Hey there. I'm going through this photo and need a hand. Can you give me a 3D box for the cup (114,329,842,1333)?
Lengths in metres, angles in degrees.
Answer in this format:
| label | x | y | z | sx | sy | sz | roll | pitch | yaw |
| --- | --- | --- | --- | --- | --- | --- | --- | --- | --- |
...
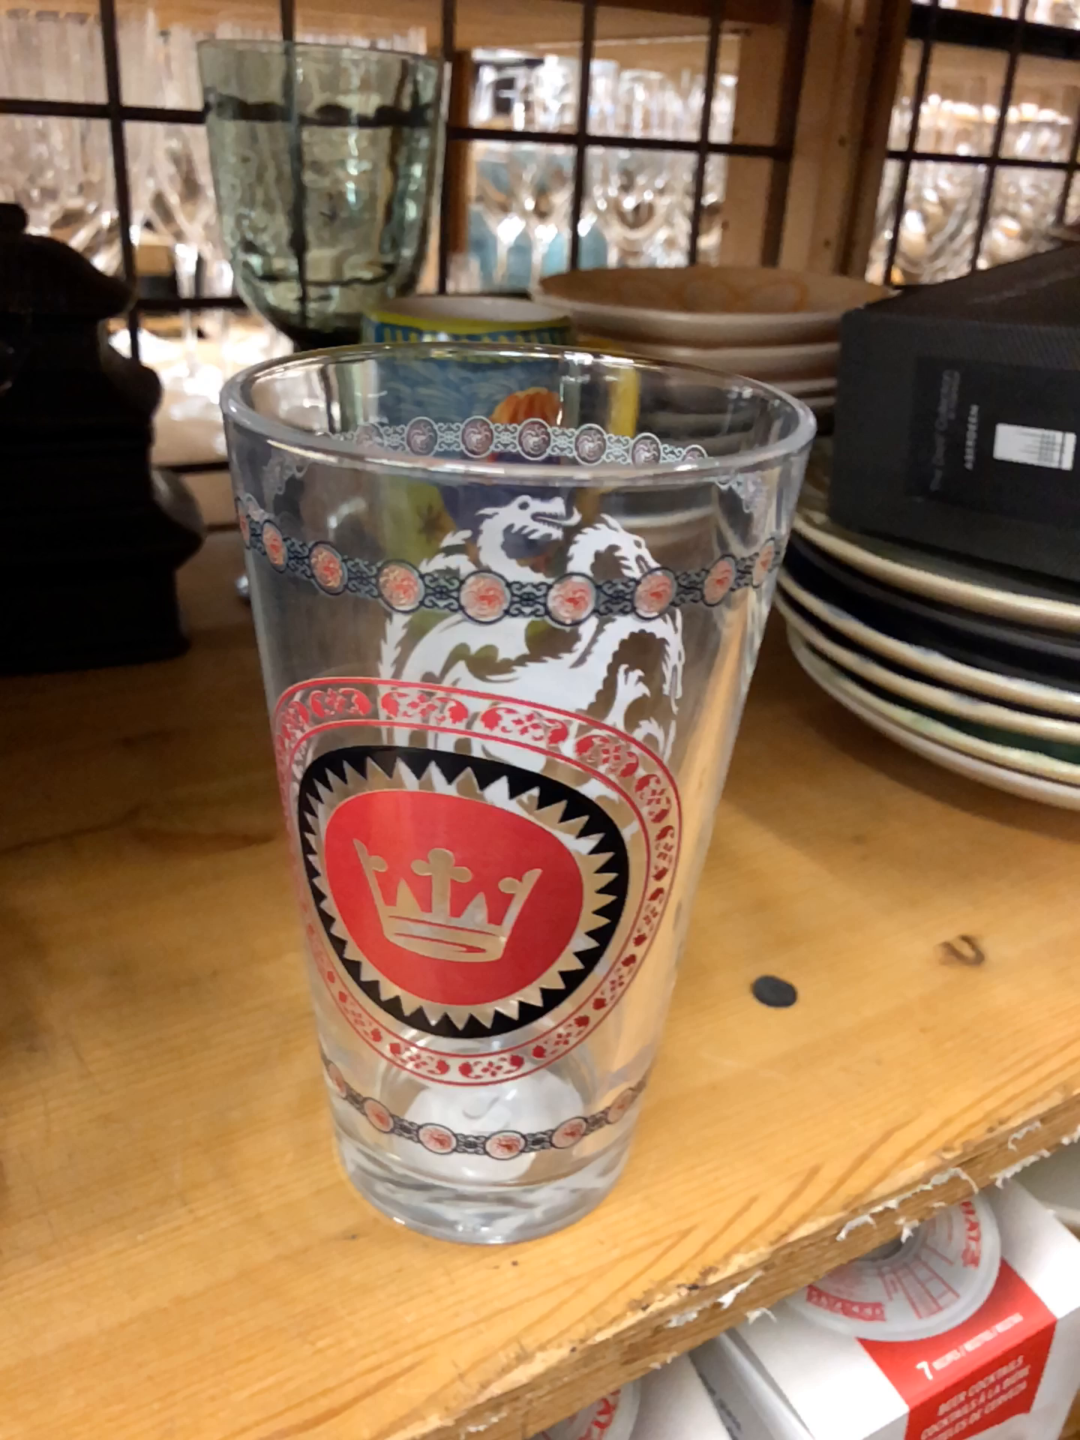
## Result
| label | x | y | z | sx | sy | sz | roll | pitch | yaw |
| --- | --- | --- | --- | --- | --- | --- | --- | --- | --- |
| cup | -0.004 | 0.011 | 0.205 | 0.085 | 0.132 | 0.084 | 3 | 26 | -1 |
